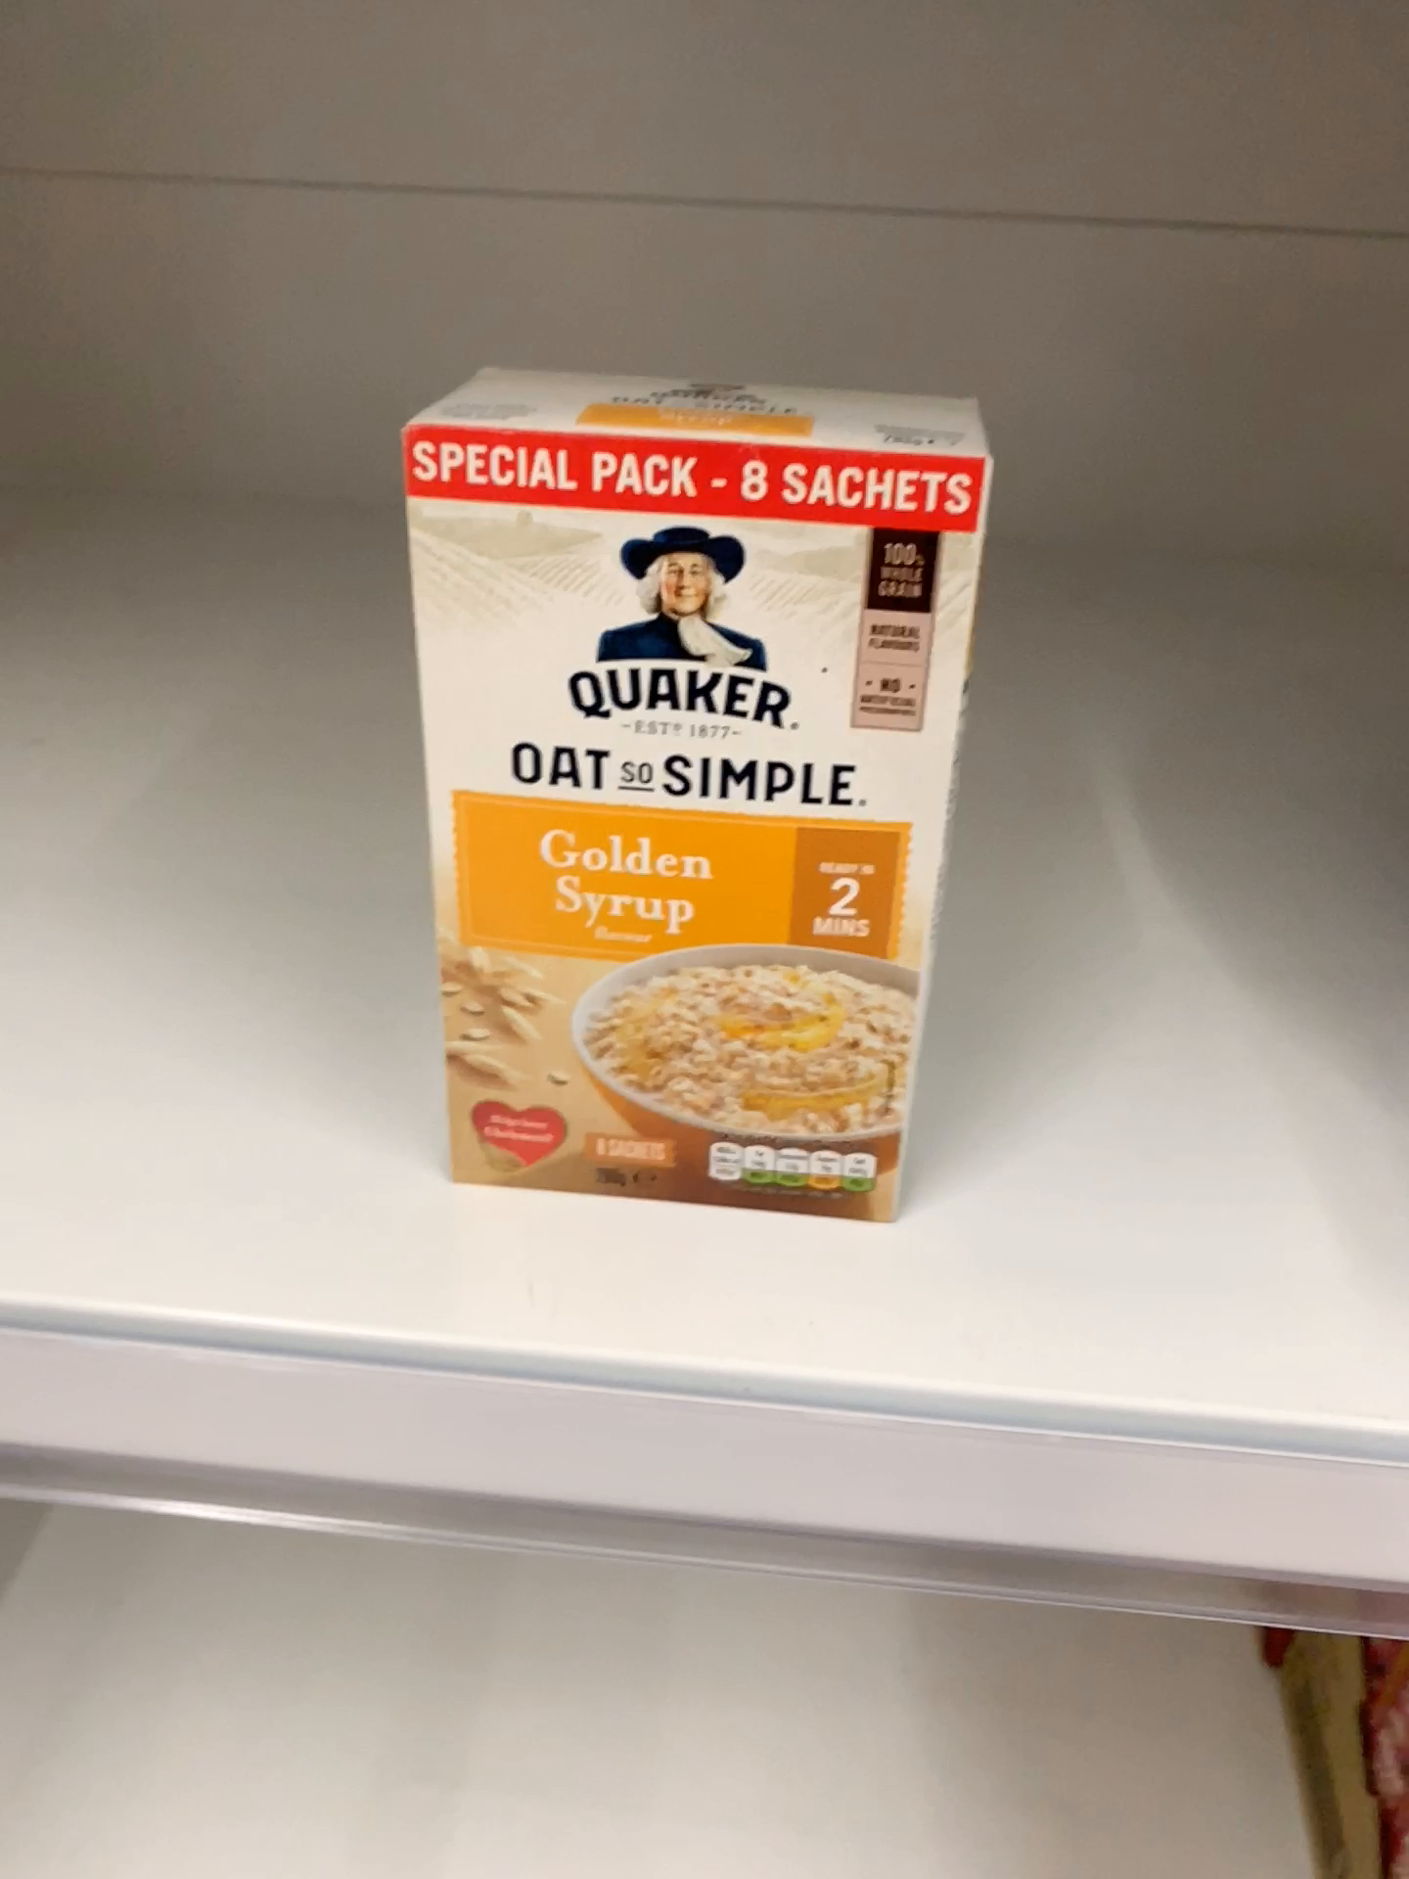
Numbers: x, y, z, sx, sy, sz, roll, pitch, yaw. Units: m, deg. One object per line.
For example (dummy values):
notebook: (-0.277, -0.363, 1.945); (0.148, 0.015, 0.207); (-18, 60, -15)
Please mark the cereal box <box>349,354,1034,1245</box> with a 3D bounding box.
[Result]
cereal box: (-0.004, -0.032, 0.378); (0.140, 0.208, 0.071); (4, 29, 3)
